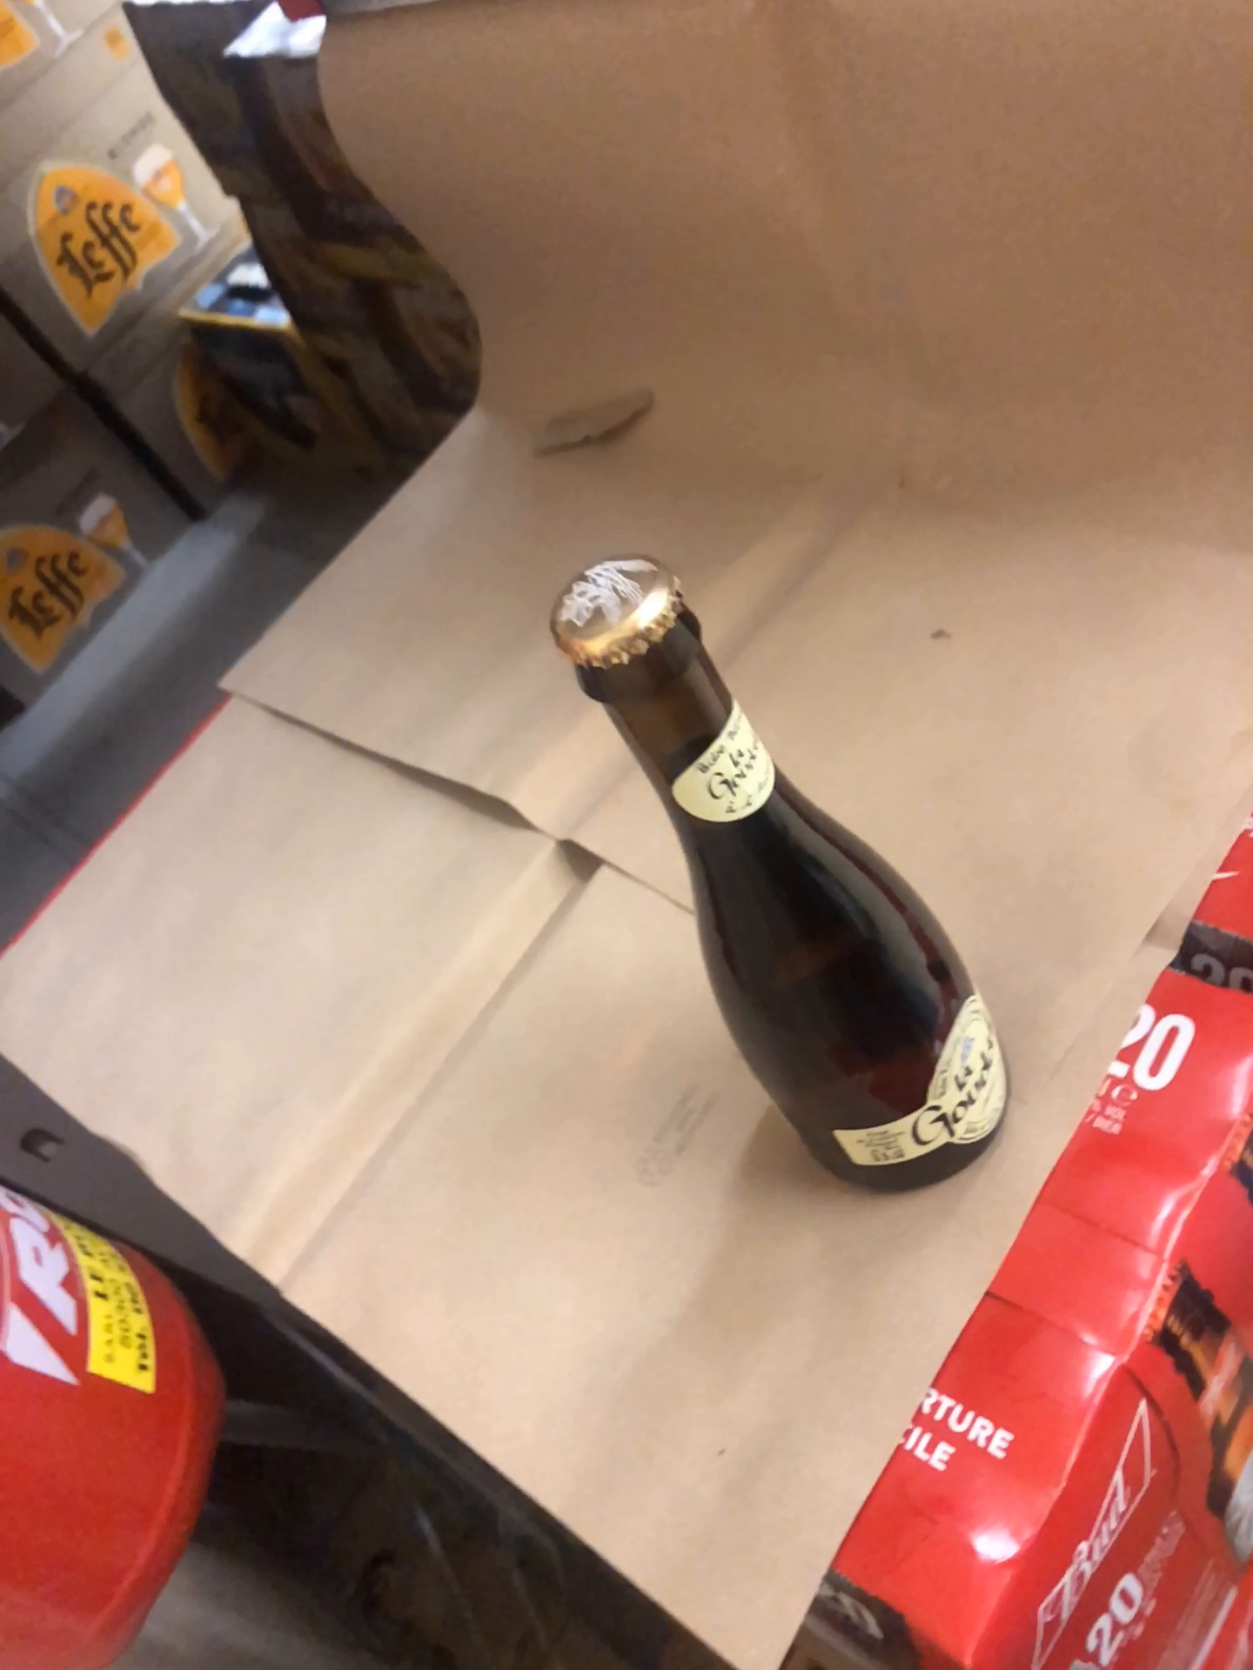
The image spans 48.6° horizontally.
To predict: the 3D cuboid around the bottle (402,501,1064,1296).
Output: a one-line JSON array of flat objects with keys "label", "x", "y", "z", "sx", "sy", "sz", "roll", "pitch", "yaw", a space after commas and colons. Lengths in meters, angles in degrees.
[{"label": "bottle", "x": 0.045, "y": 0.028, "z": 0.342, "sx": 0.070, "sy": 0.219, "sz": 0.080, "roll": 11, "pitch": 61, "yaw": 33}]
